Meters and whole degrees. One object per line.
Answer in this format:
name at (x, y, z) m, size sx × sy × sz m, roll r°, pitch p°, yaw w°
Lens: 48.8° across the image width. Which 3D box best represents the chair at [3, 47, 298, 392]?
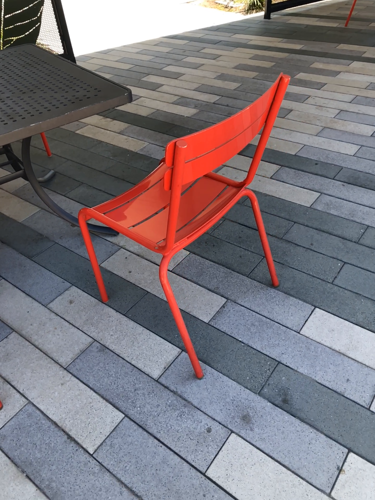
chair at (-0.069, -0.126, 1.531) m, size 0.632 × 0.955 × 0.611 m, roll 23°, pitch 47°, yaw 30°
